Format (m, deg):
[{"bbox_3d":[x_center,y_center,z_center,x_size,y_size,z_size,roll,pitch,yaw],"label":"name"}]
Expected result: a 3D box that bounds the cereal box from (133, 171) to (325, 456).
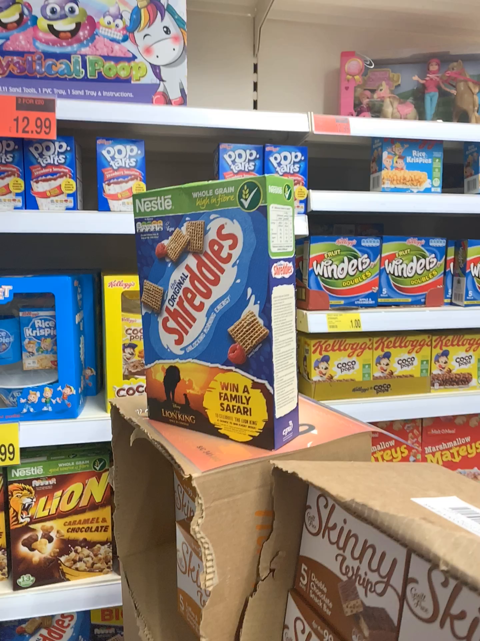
[{"bbox_3d":[-0.017,-0.013,0.557,0.210,0.269,0.070,3,9,39],"label":"cereal box"}]
